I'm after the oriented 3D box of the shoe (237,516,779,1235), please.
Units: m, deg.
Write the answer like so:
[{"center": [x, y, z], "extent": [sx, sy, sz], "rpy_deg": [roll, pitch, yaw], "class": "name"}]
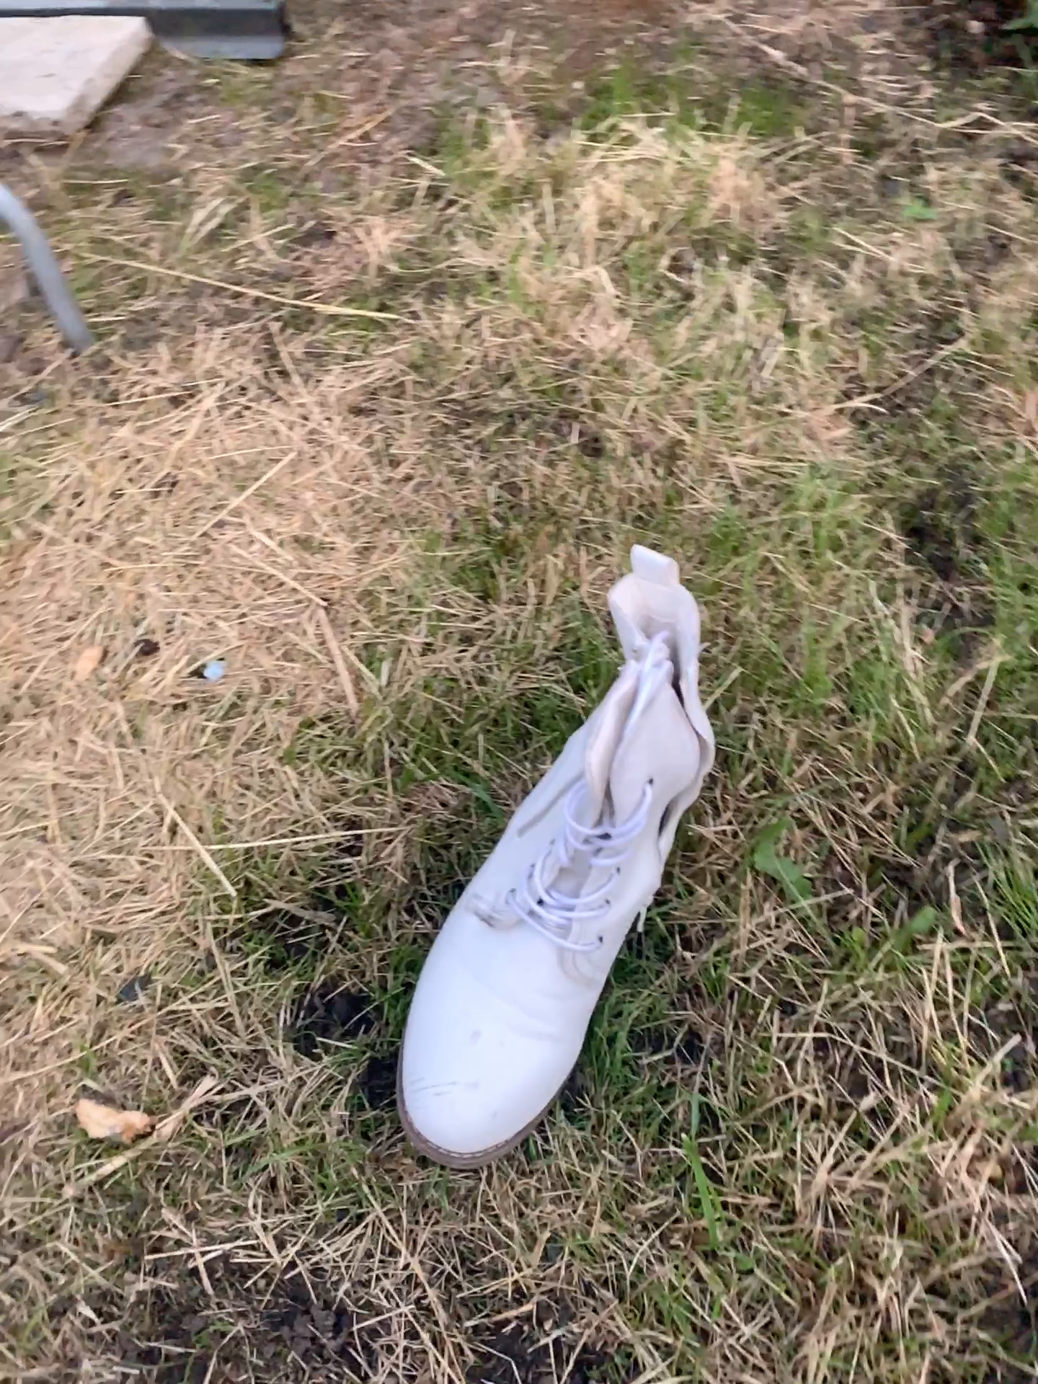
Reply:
[{"center": [0.013, 0.083, 0.490], "extent": [0.100, 0.179, 0.261], "rpy_deg": [23, 59, 18], "class": "shoe"}]
